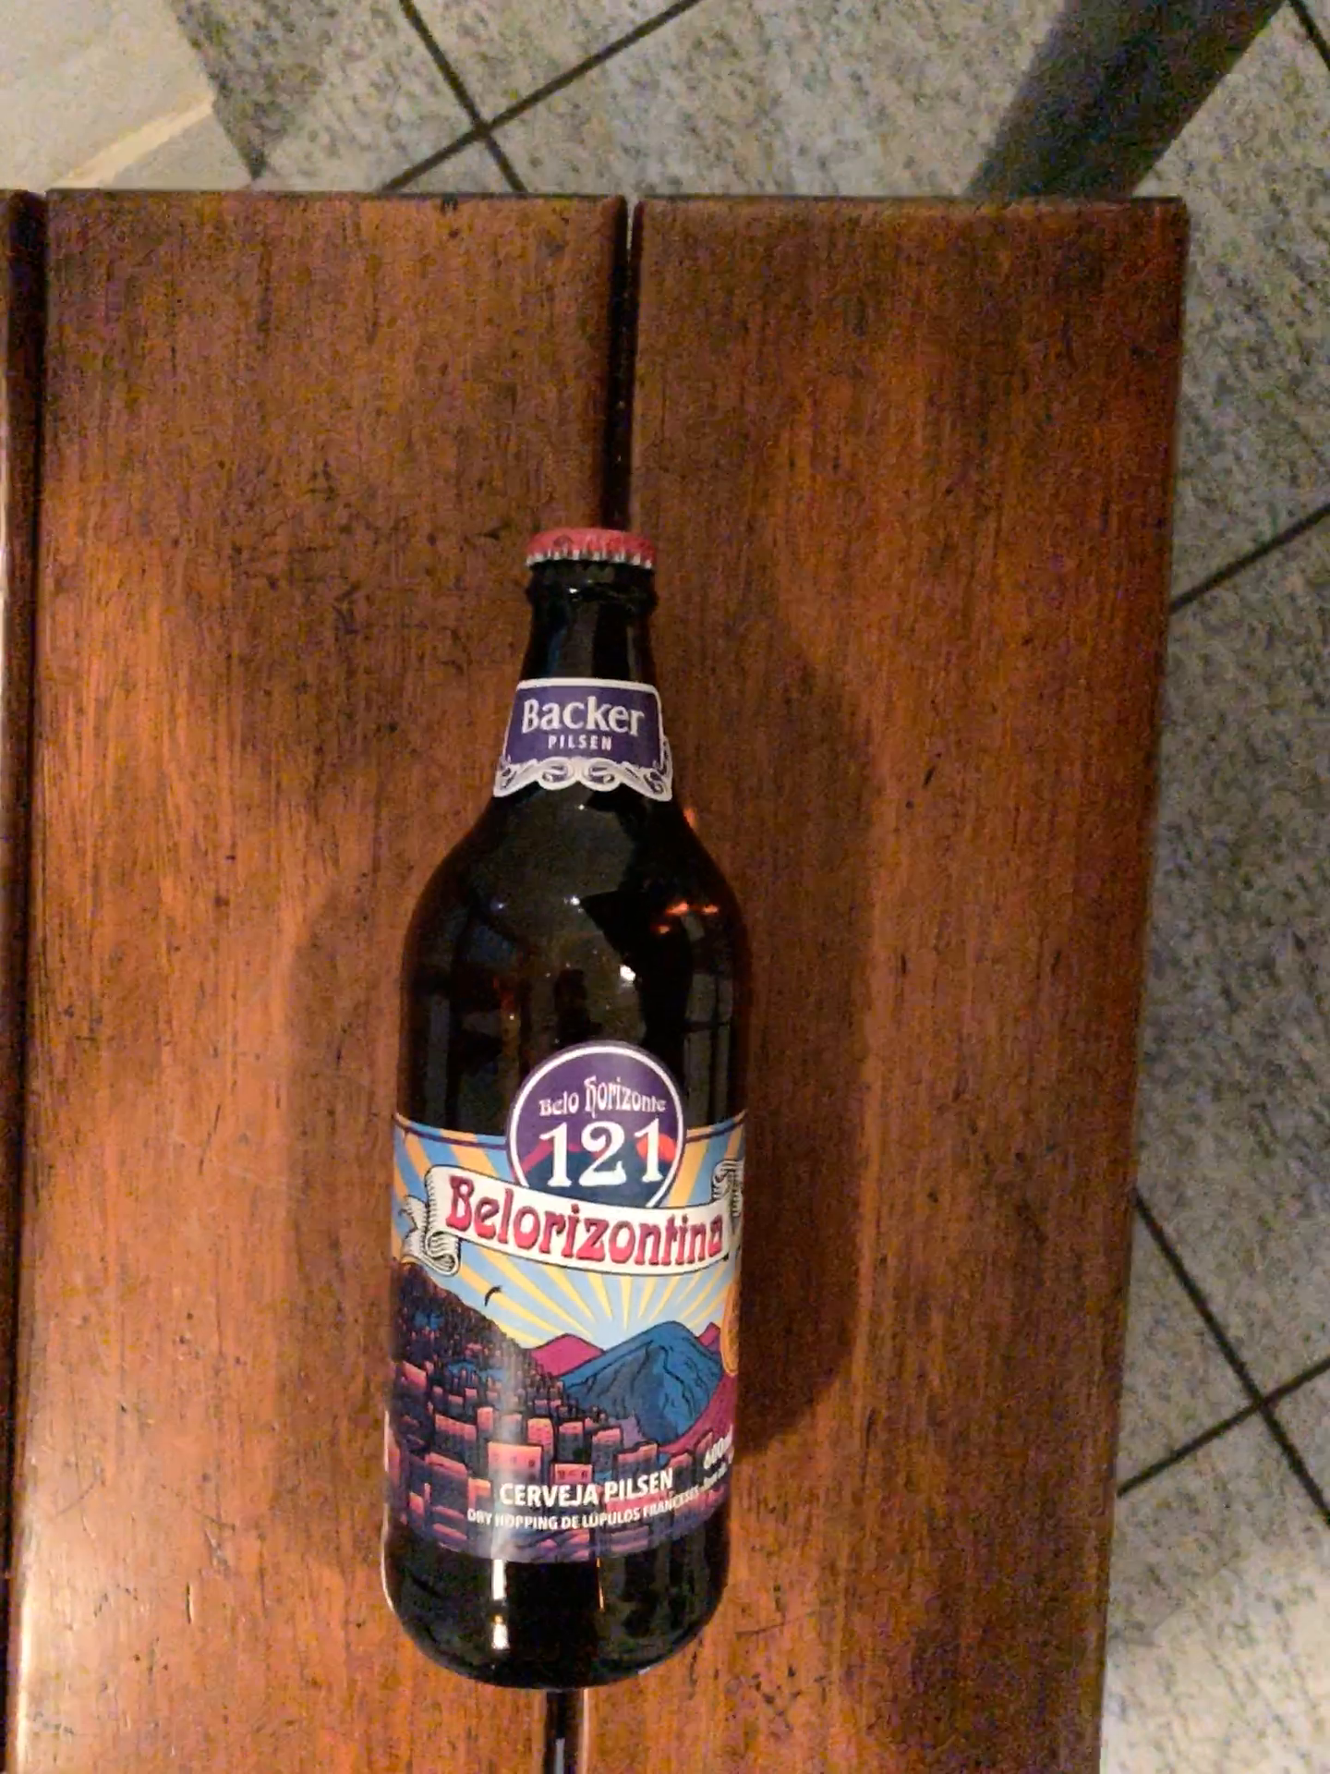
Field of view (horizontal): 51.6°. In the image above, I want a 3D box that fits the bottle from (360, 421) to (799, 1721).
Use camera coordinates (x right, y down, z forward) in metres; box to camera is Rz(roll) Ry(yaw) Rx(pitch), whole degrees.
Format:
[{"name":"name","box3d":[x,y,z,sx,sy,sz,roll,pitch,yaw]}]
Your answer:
[{"name":"bottle","box3d":[-0.020,0.035,0.283,0.080,0.050,0.240,0,93,-8]}]
